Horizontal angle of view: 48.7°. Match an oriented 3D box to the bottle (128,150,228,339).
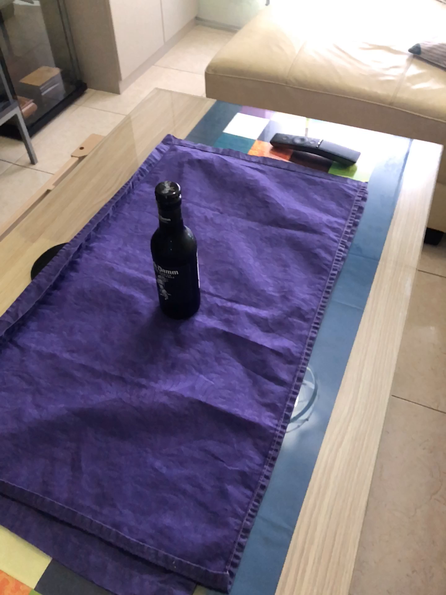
[{"bbox_3d":[-0.045,-0.052,0.561,0.070,0.199,0.070,0,49,0],"label":"bottle"}]
